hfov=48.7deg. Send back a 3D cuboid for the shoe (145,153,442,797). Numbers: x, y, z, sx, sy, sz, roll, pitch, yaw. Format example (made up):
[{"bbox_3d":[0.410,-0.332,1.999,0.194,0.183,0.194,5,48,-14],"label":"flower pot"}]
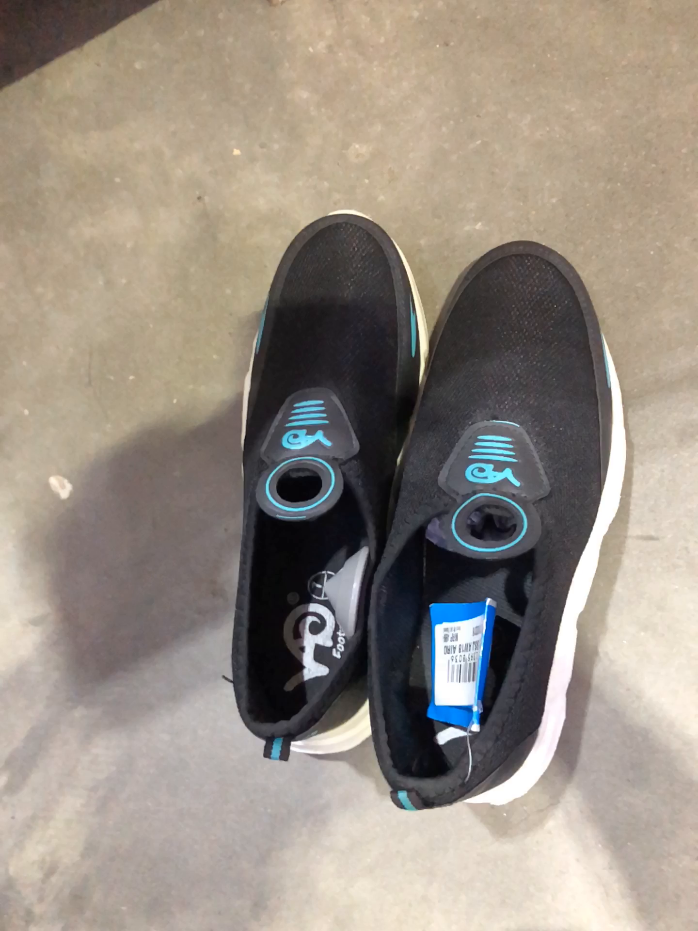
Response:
[{"bbox_3d":[-0.019,0.001,0.416,0.110,0.100,0.300,2,81,14],"label":"shoe"}]

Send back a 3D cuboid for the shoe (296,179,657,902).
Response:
[{"bbox_3d":[0.068,0.025,0.384,0.110,0.100,0.300,8,82,15],"label":"shoe"}]
